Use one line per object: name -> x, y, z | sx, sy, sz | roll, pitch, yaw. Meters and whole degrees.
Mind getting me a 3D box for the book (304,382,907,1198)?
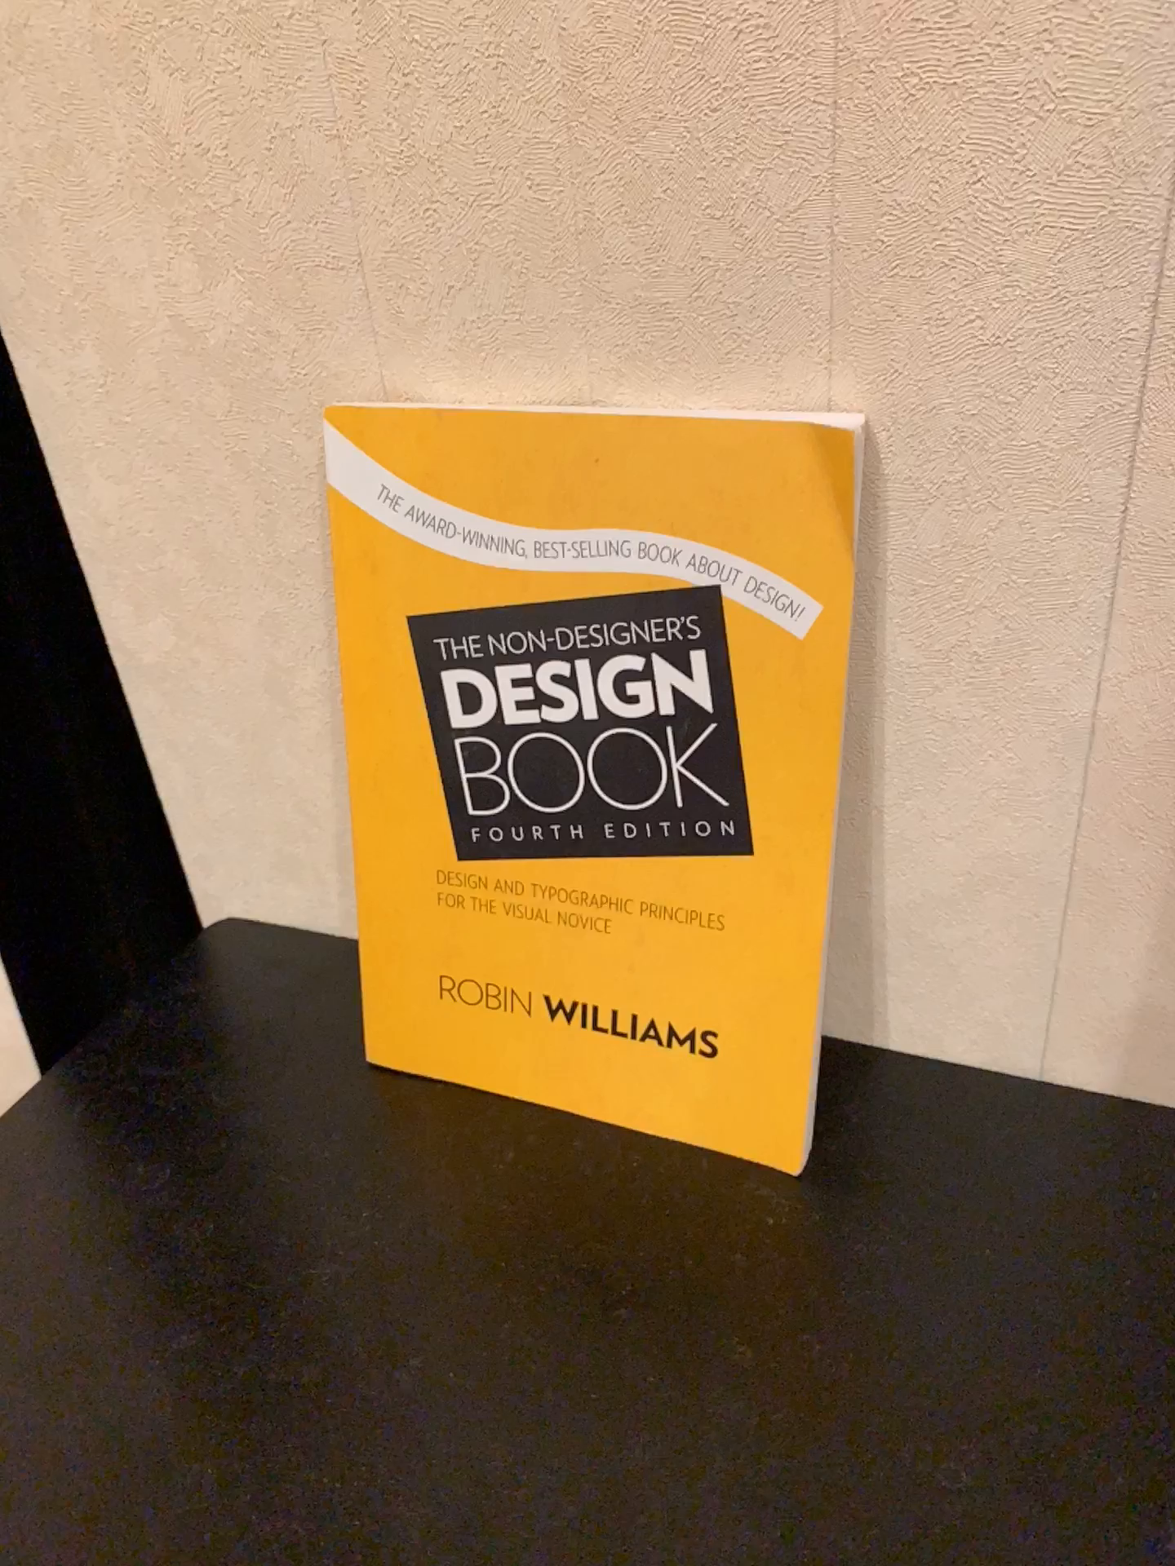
book -> -0.001, 0.000, 0.418 | 0.190, 0.259, 0.030 | 9, 21, 23
